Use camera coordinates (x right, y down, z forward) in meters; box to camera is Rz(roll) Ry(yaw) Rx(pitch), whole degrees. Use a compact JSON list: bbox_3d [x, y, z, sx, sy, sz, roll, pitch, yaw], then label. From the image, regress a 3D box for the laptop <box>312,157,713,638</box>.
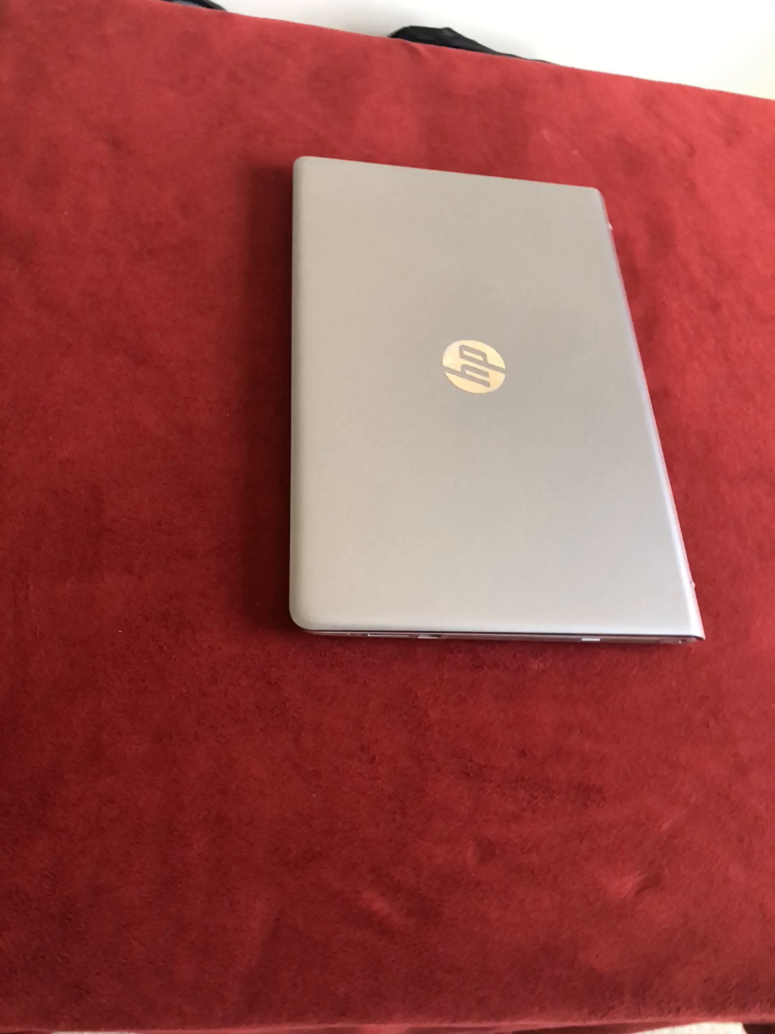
[{"bbox_3d":[0.067,-0.099,0.576,0.233,0.006,0.373,2,62,-9],"label":"laptop"}]
